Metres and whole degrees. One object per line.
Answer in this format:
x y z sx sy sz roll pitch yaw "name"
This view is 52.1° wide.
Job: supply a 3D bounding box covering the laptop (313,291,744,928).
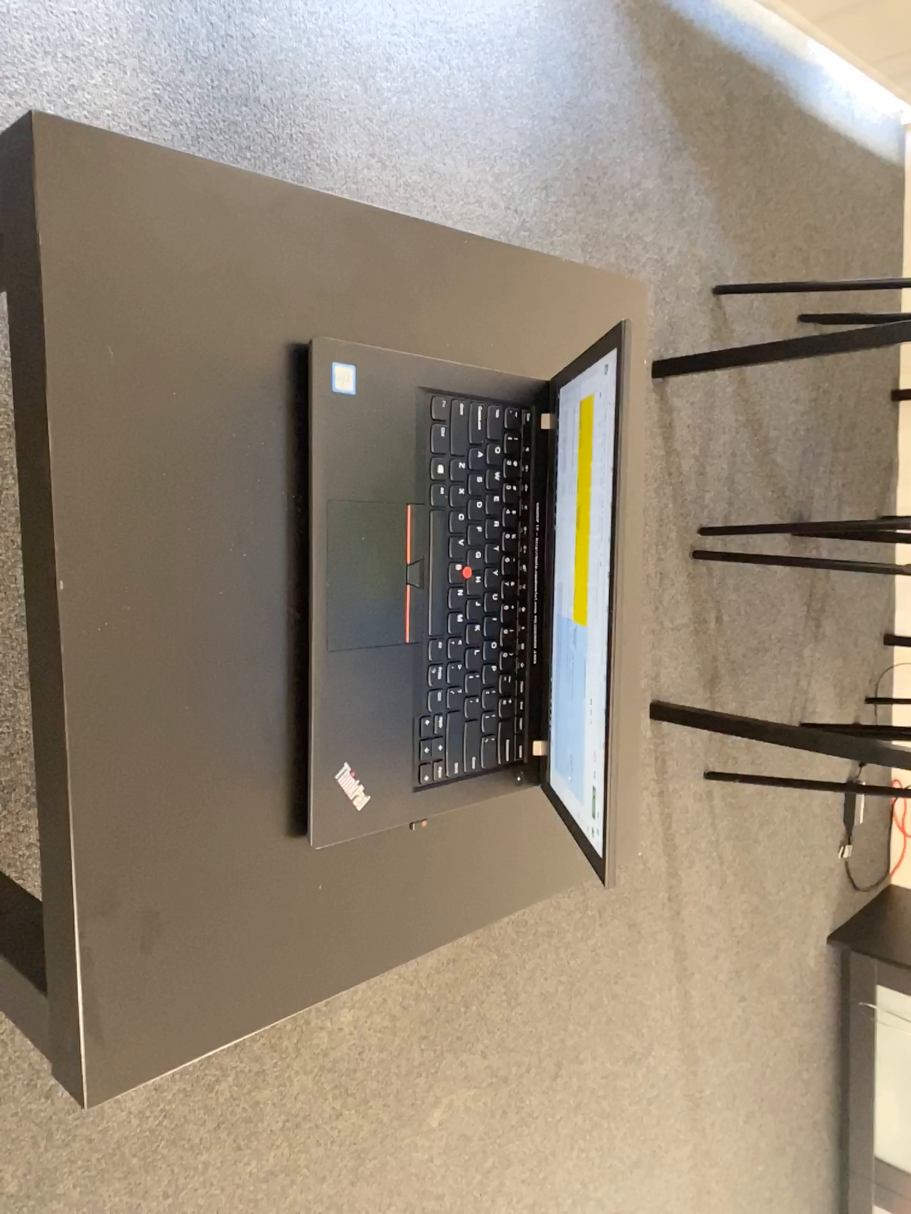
0.049 -0.005 0.617 0.224 0.165 0.332 -4 97 -43 "laptop"
